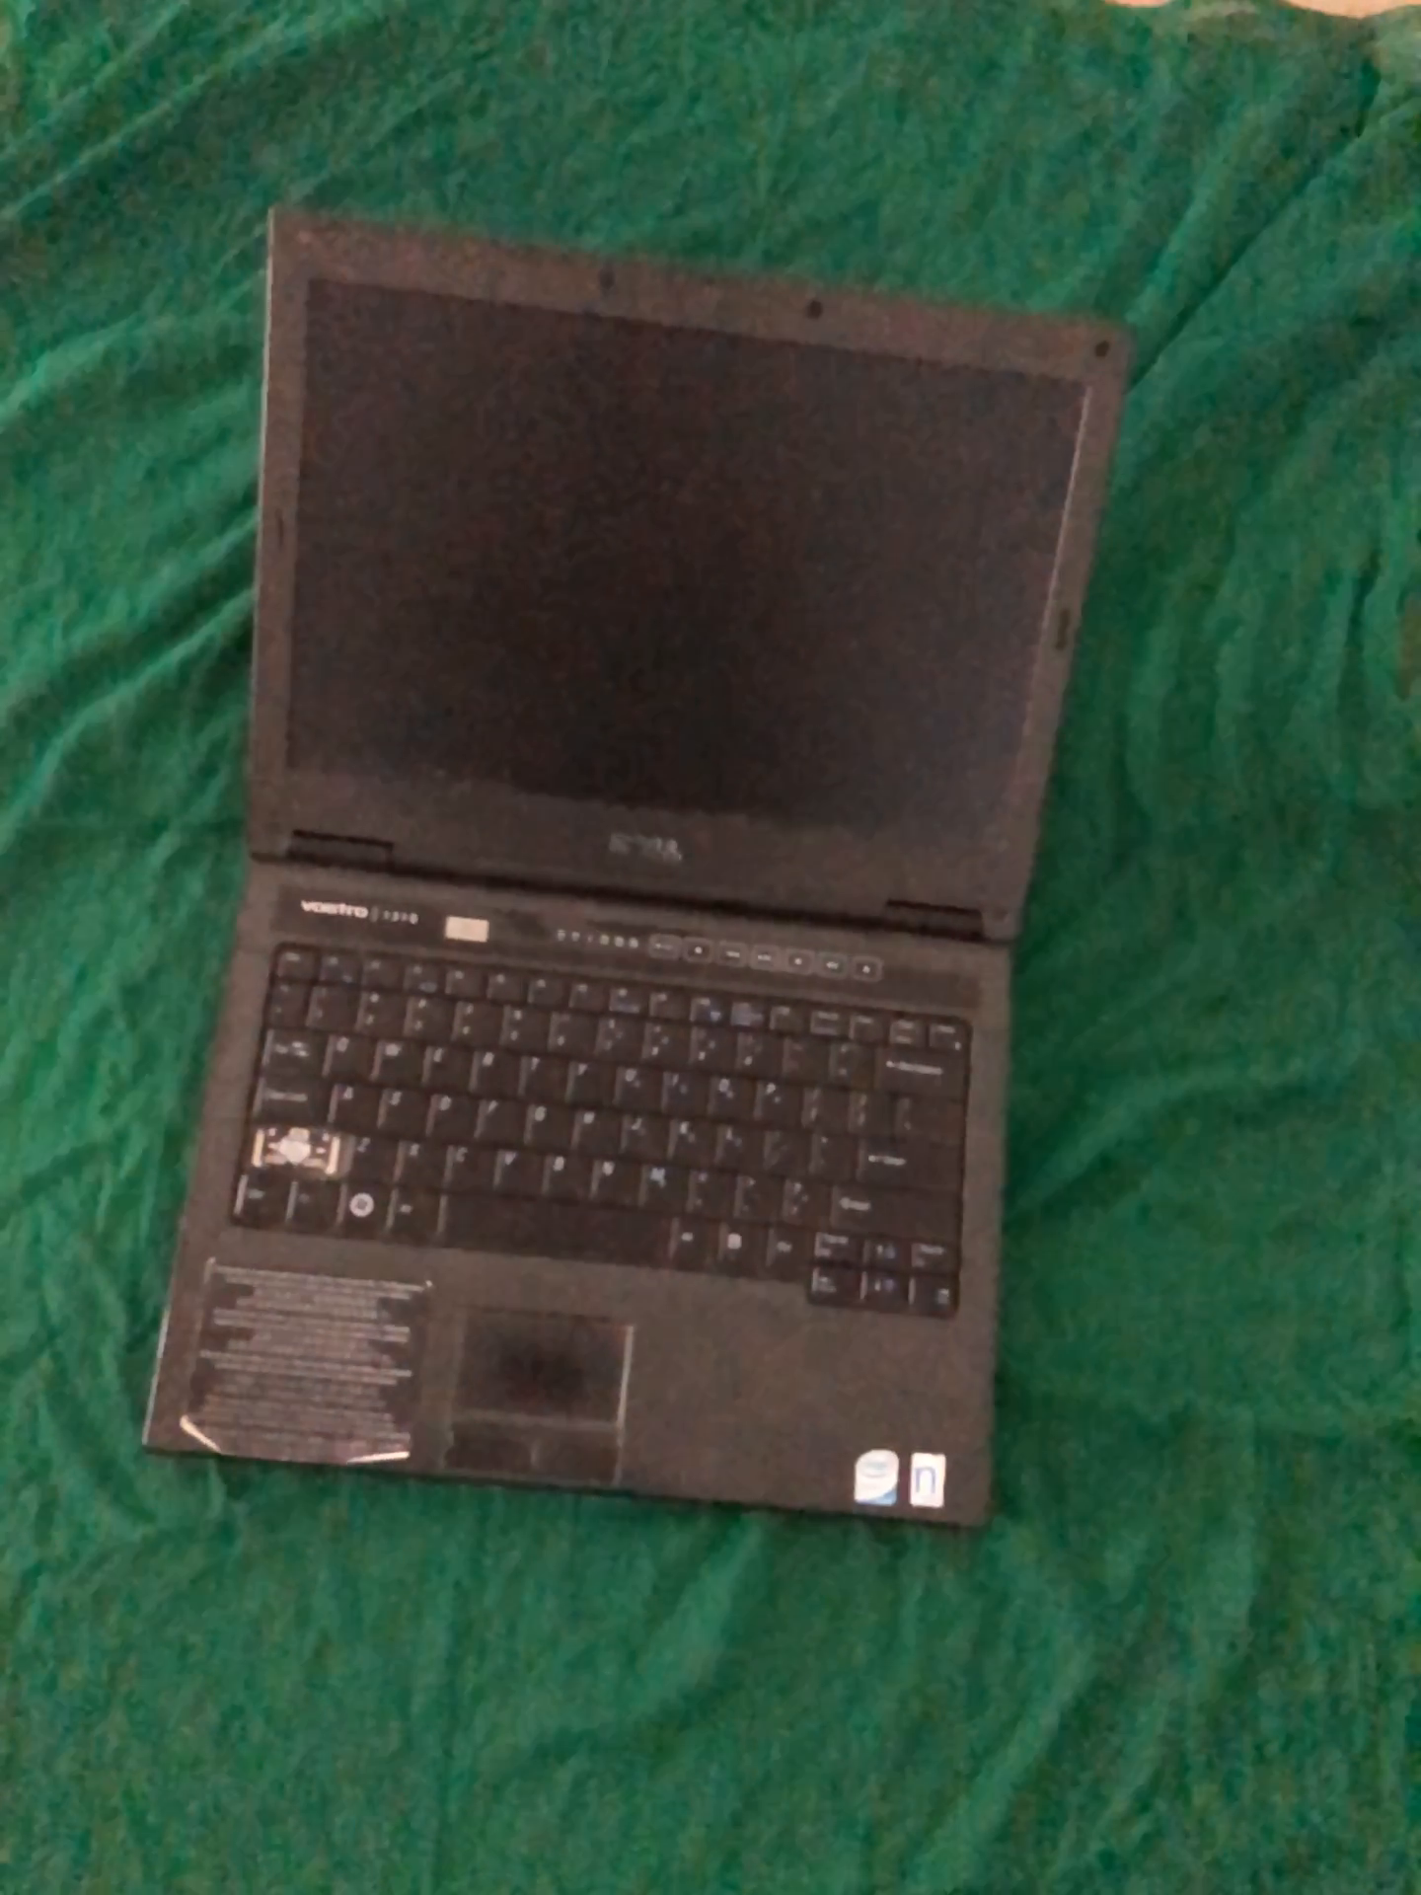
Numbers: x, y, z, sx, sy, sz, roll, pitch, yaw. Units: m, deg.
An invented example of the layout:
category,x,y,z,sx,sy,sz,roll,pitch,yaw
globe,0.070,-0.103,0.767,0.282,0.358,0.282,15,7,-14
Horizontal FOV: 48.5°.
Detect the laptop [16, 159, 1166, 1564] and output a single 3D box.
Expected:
category,x,y,z,sx,sy,sz,roll,pitch,yaw
laptop,-0.028,-0.028,0.570,0.313,0.127,0.439,7,79,-1
